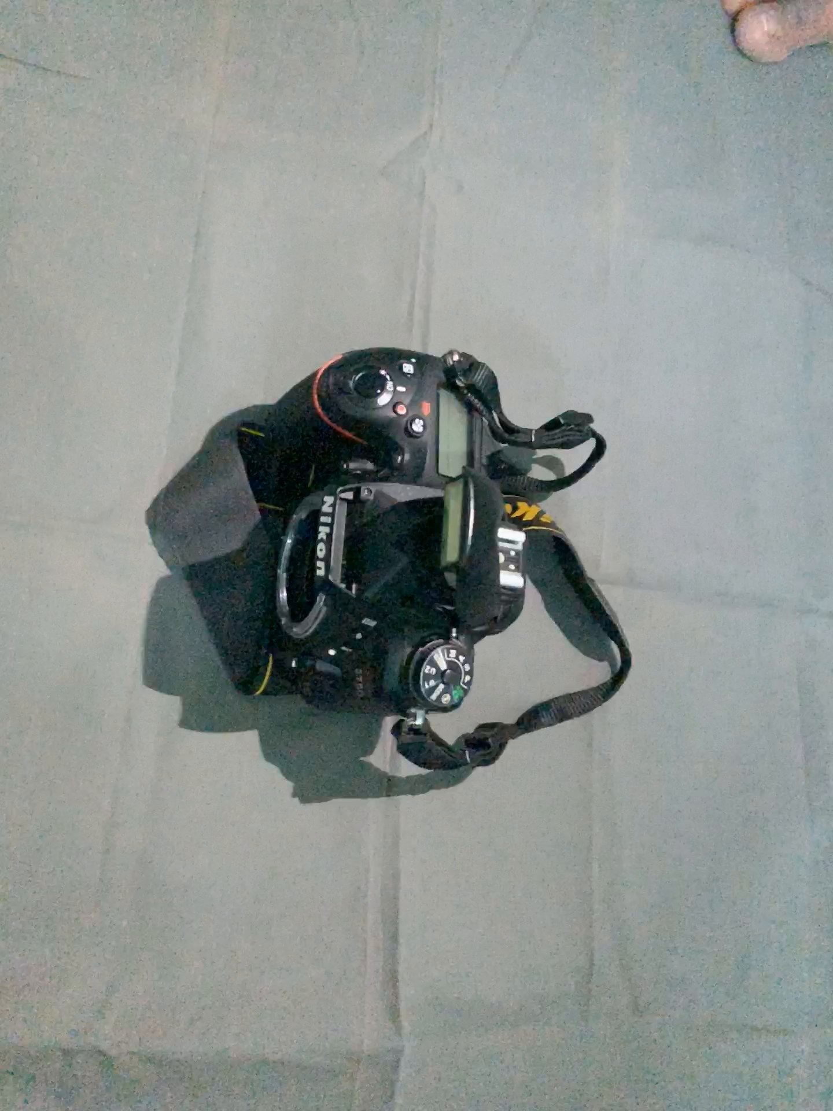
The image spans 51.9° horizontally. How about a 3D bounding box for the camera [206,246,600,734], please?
[{"bbox_3d":[-0.010,-0.009,0.326,0.101,0.125,0.140,10,75,-20],"label":"camera"}]
